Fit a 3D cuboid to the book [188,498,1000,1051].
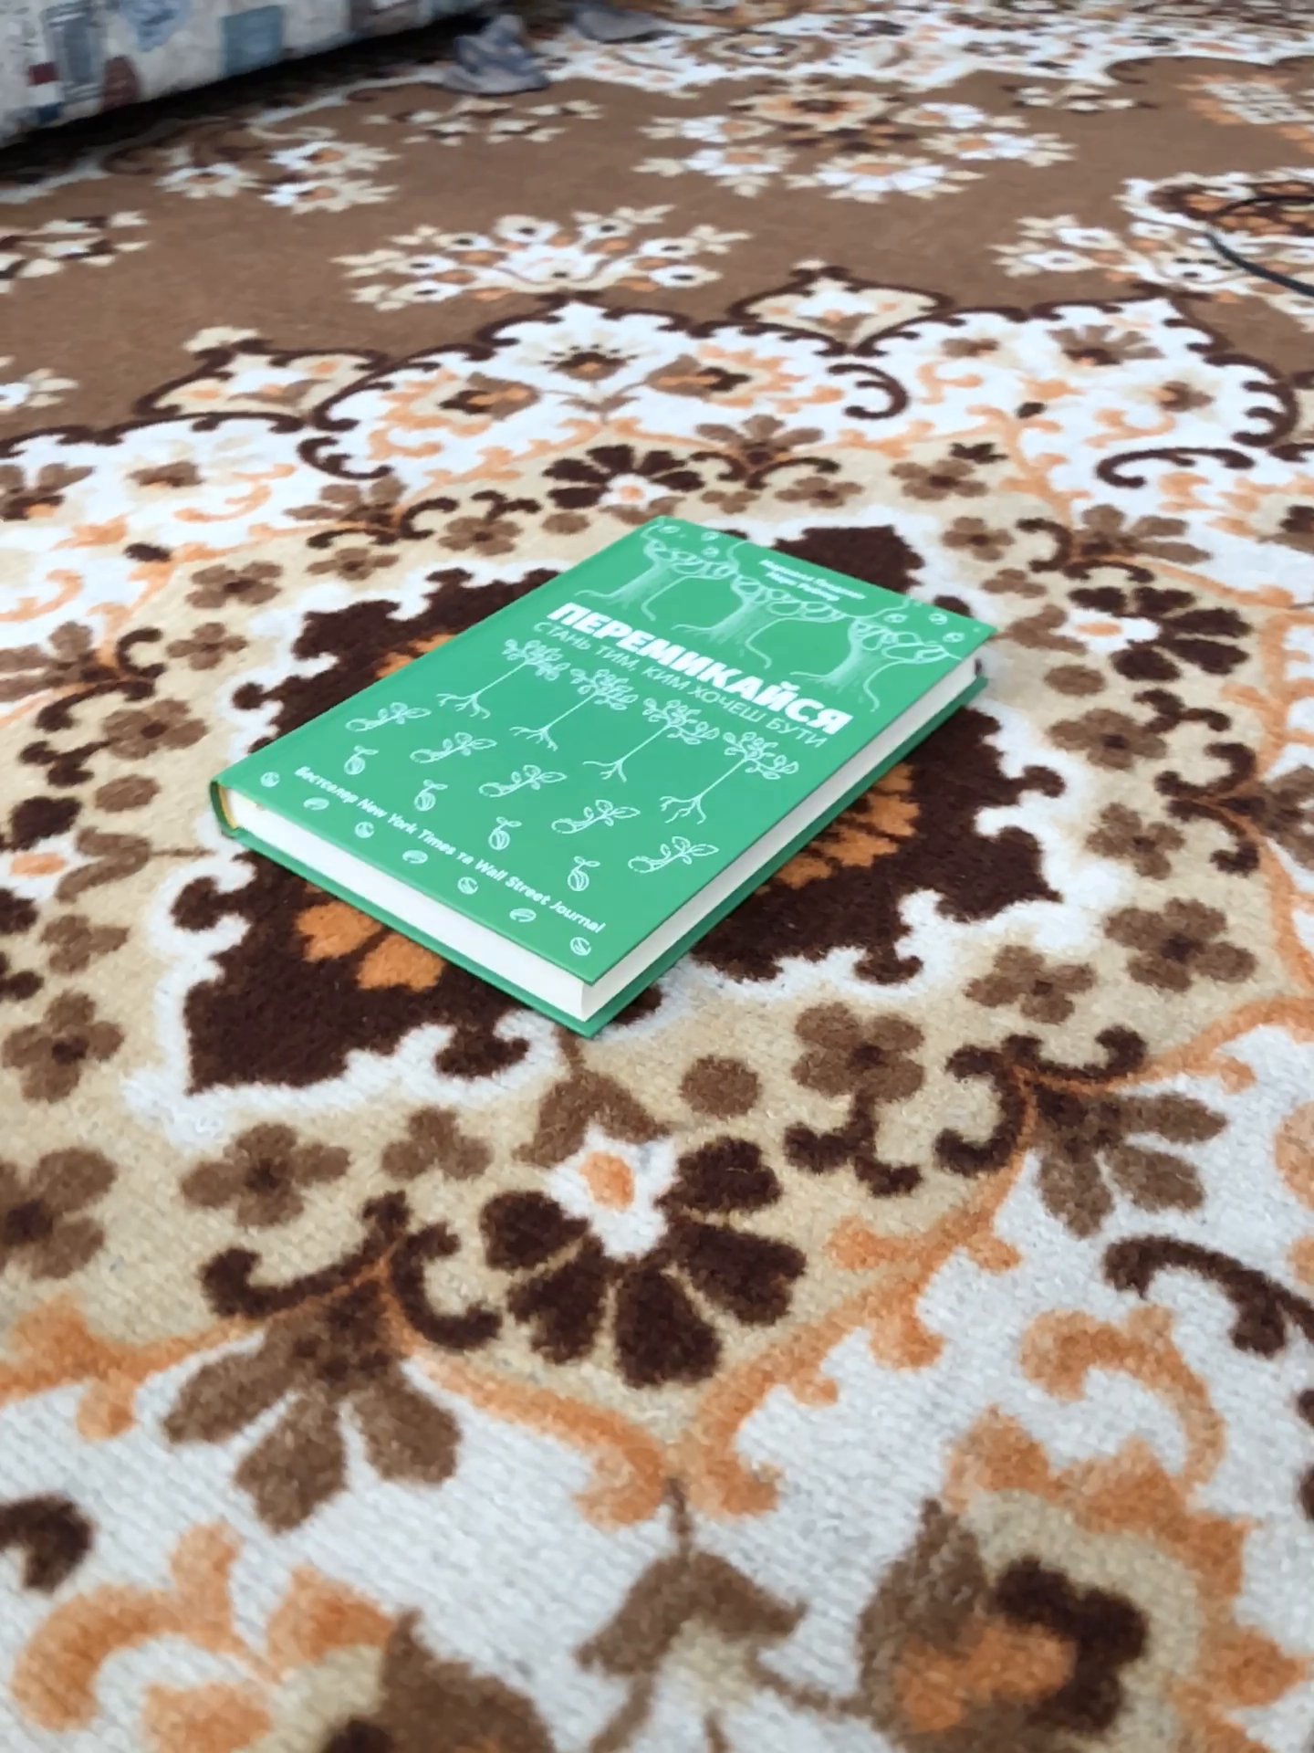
[{"bbox_3d":[-0.010,-0.047,0.425,0.138,0.023,0.203,26,47,28],"label":"book"}]
